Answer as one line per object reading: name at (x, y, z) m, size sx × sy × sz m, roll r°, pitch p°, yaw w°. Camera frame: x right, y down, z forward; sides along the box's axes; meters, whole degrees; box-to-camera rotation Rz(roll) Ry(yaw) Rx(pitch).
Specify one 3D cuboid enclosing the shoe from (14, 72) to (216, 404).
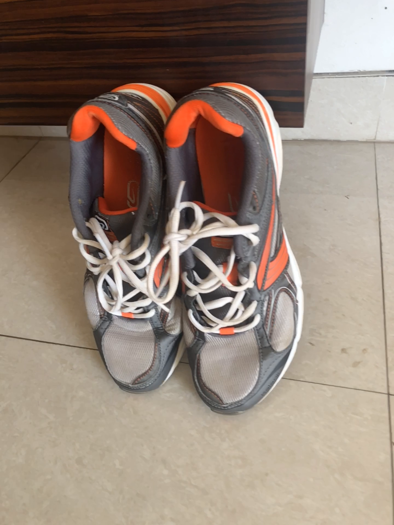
shoe at (-0.054, -0.020, 0.391) m, size 0.120 × 0.269 × 0.100 m, roll 1°, pitch 21°, yaw 10°

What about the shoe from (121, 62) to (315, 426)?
shoe at (0.031, -0.016, 0.365) m, size 0.120 × 0.259 × 0.110 m, roll 2°, pitch 19°, yaw 18°
